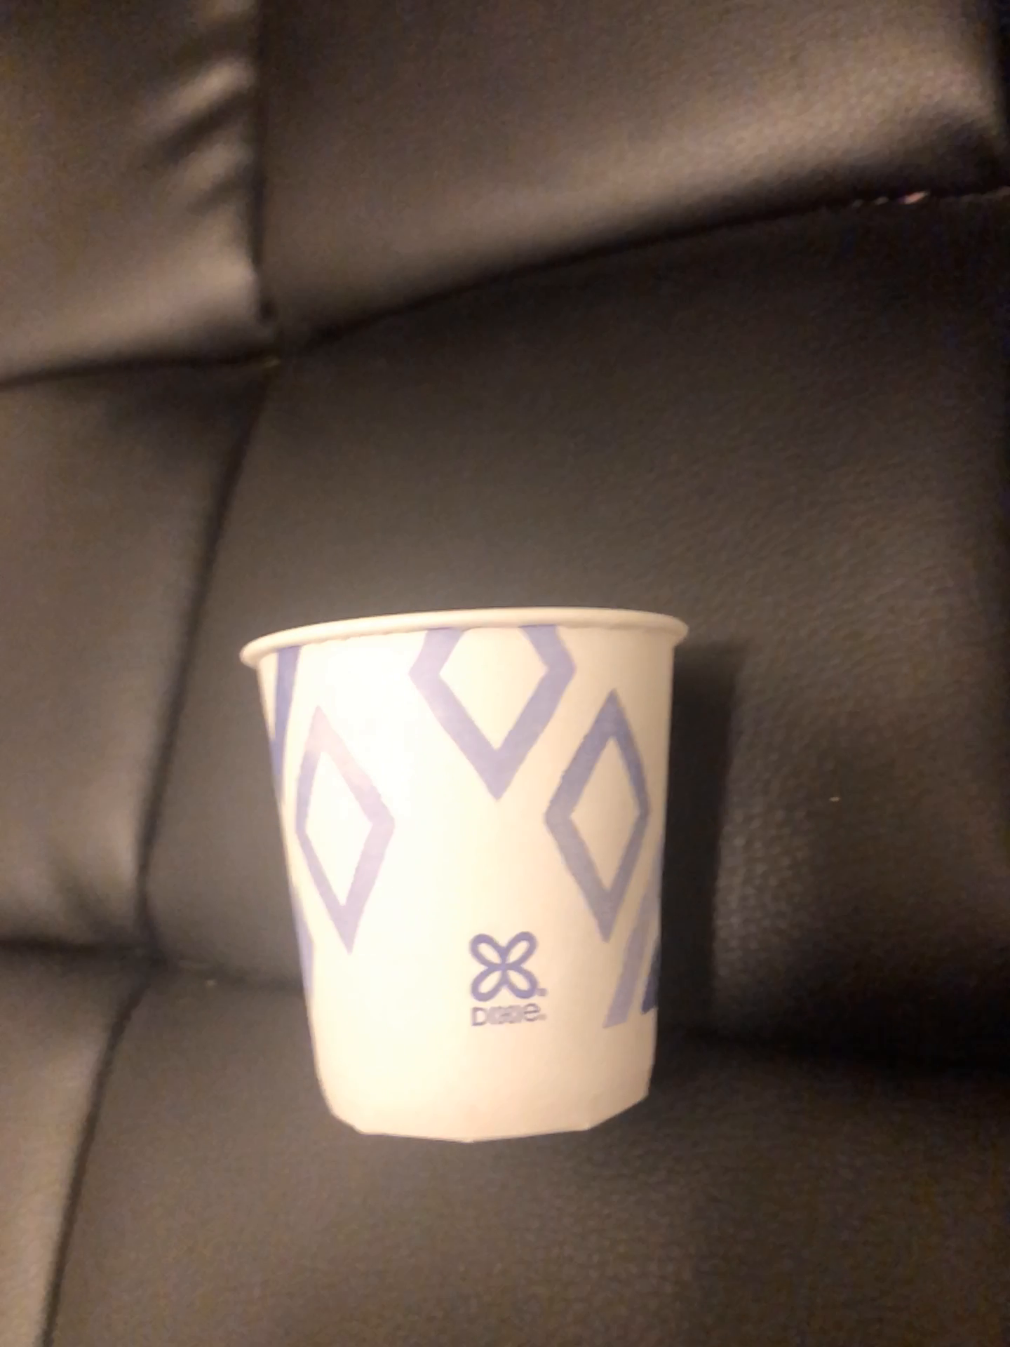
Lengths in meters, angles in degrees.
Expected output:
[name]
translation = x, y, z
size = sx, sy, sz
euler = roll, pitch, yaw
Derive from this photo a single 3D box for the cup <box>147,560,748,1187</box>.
[cup]
translation = -0.006, 0.021, 0.142
size = 0.052, 0.049, 0.058
euler = -5, 86, 32
